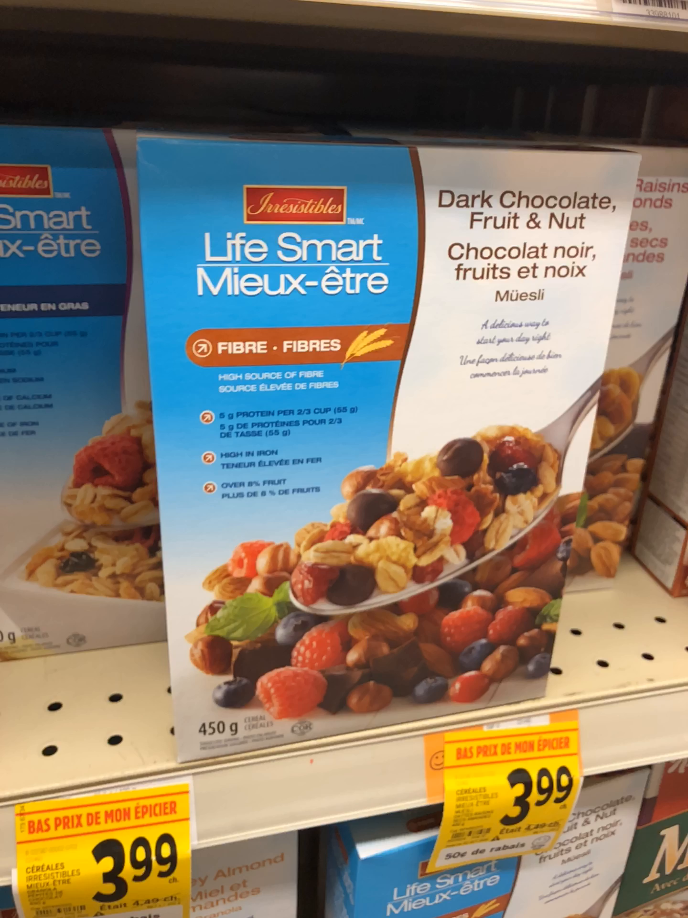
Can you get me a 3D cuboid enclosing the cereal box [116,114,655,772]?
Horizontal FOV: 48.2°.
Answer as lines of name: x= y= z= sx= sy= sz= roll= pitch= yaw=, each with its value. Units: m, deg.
cereal box: x=0.009 y=-0.001 z=0.301 sx=0.170 sy=0.238 sz=0.050 roll=-4 pitch=25 yaw=-15
